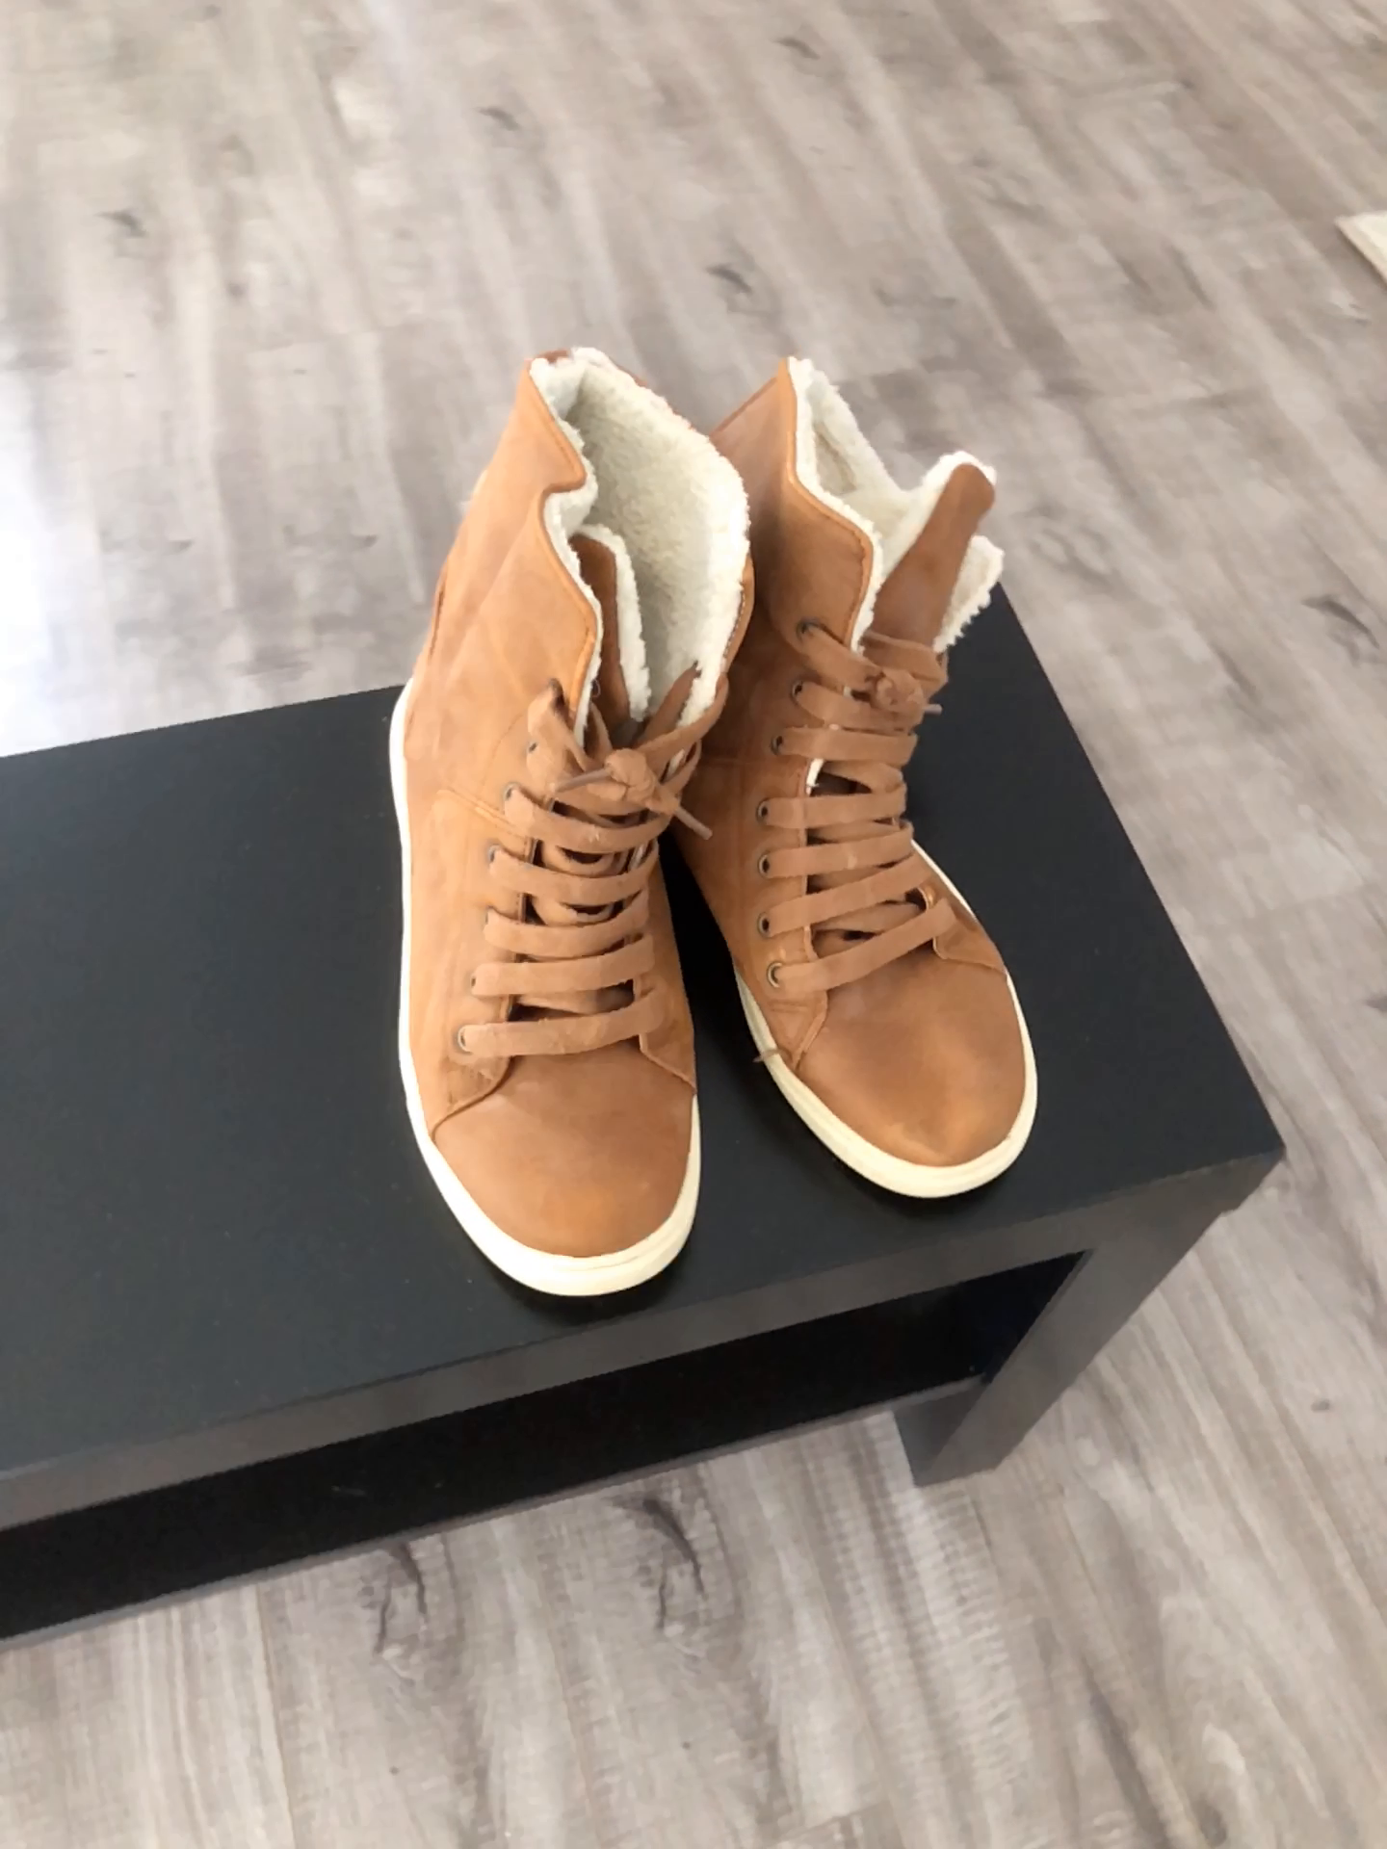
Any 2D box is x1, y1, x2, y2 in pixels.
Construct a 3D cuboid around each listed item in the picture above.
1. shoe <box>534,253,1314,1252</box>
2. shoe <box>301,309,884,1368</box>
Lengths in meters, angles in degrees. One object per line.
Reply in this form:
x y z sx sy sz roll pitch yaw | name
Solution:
0.047 -0.059 0.472 0.110 0.140 0.260 -17 60 -12 | shoe
-0.039 -0.029 0.449 0.110 0.150 0.260 -8 58 -7 | shoe
